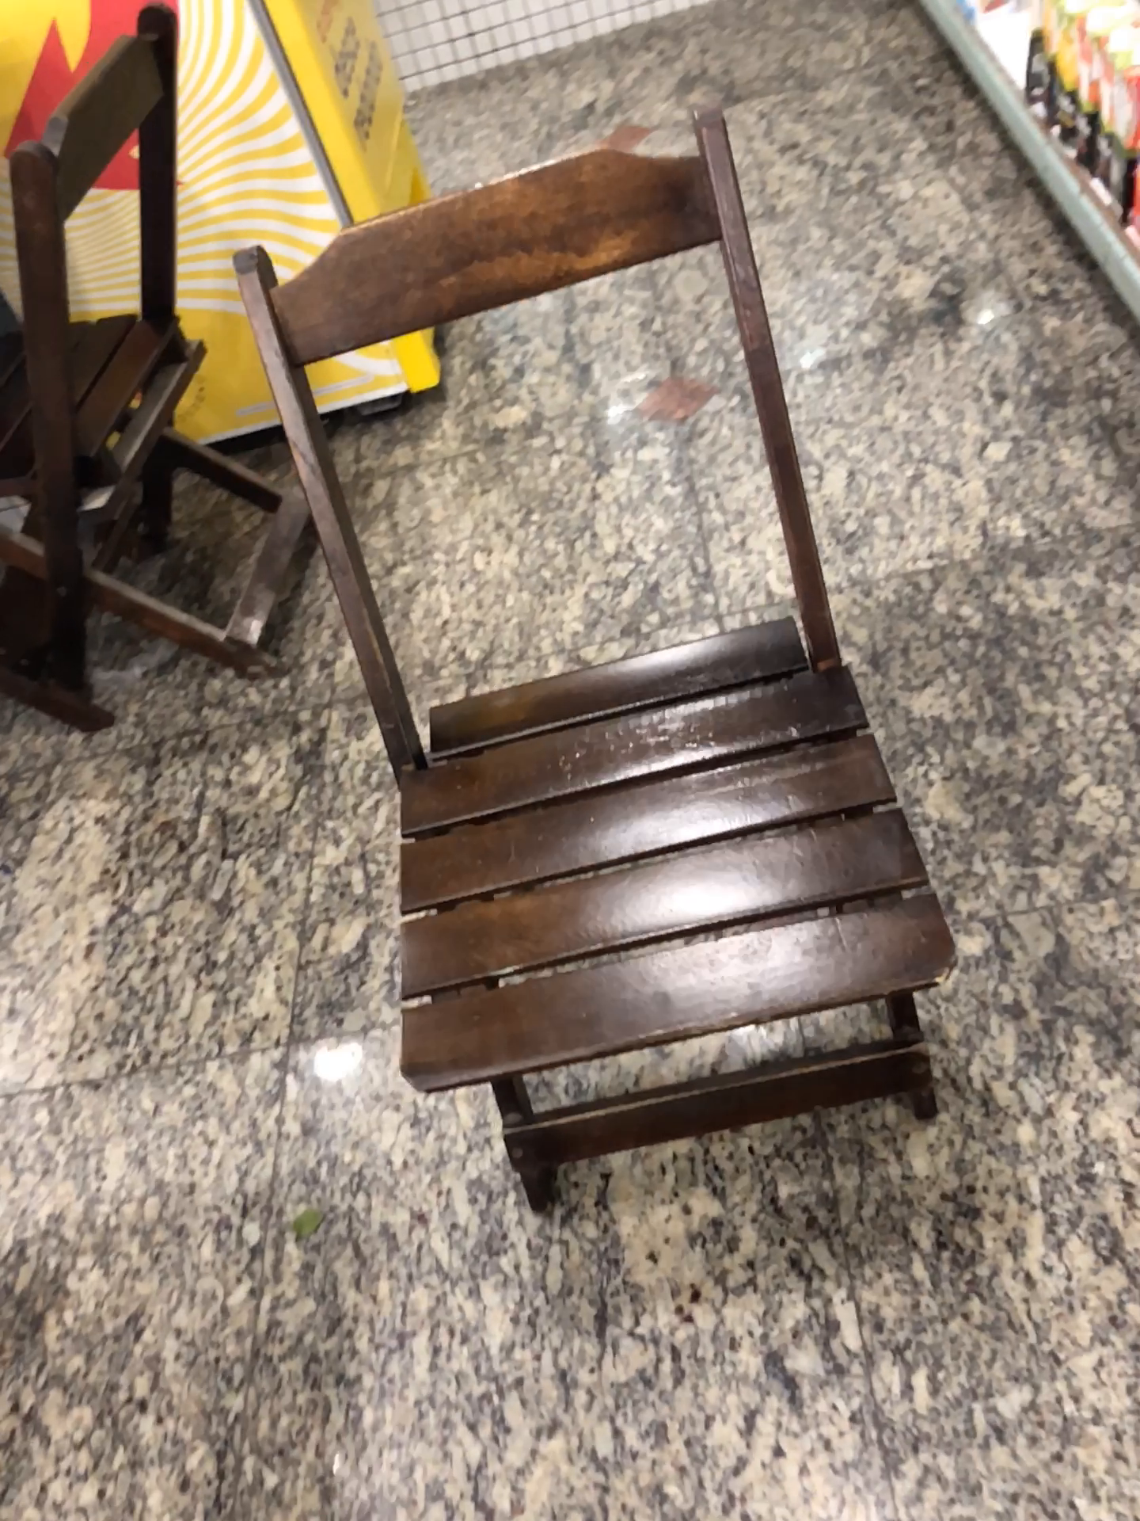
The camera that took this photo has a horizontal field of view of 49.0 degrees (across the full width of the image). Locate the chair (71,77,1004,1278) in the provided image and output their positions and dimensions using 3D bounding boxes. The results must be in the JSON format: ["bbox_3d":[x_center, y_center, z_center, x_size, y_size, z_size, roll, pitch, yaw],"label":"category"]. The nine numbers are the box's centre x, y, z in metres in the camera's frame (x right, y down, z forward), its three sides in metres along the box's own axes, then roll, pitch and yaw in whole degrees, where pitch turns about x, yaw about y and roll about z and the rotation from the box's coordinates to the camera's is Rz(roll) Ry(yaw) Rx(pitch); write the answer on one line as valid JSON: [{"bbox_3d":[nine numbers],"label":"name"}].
[{"bbox_3d":[0.034,-0.027,1.017,0.440,0.705,0.554,-15,46,7],"label":"chair"}]
